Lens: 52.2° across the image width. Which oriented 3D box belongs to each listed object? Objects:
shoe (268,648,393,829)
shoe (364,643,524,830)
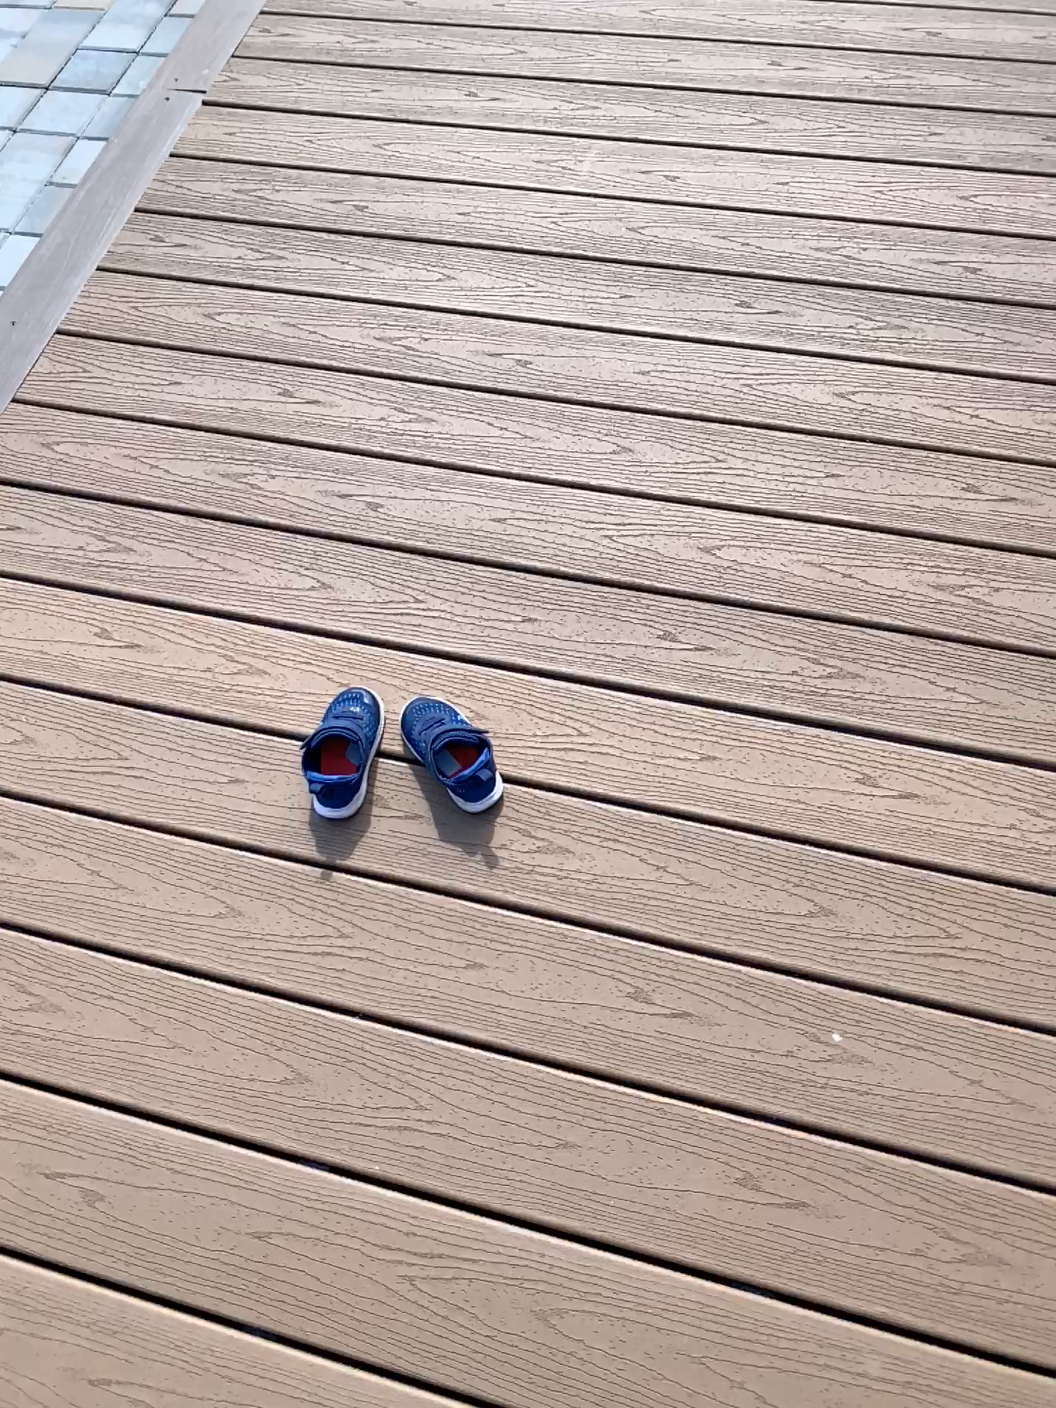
[{"bbox_3d":[-0.211,0.037,1.173,0.080,0.090,0.170,3,61,8],"label":"shoe"},{"bbox_3d":[-0.090,0.034,1.169,0.080,0.090,0.171,-35,62,-13],"label":"shoe"}]
